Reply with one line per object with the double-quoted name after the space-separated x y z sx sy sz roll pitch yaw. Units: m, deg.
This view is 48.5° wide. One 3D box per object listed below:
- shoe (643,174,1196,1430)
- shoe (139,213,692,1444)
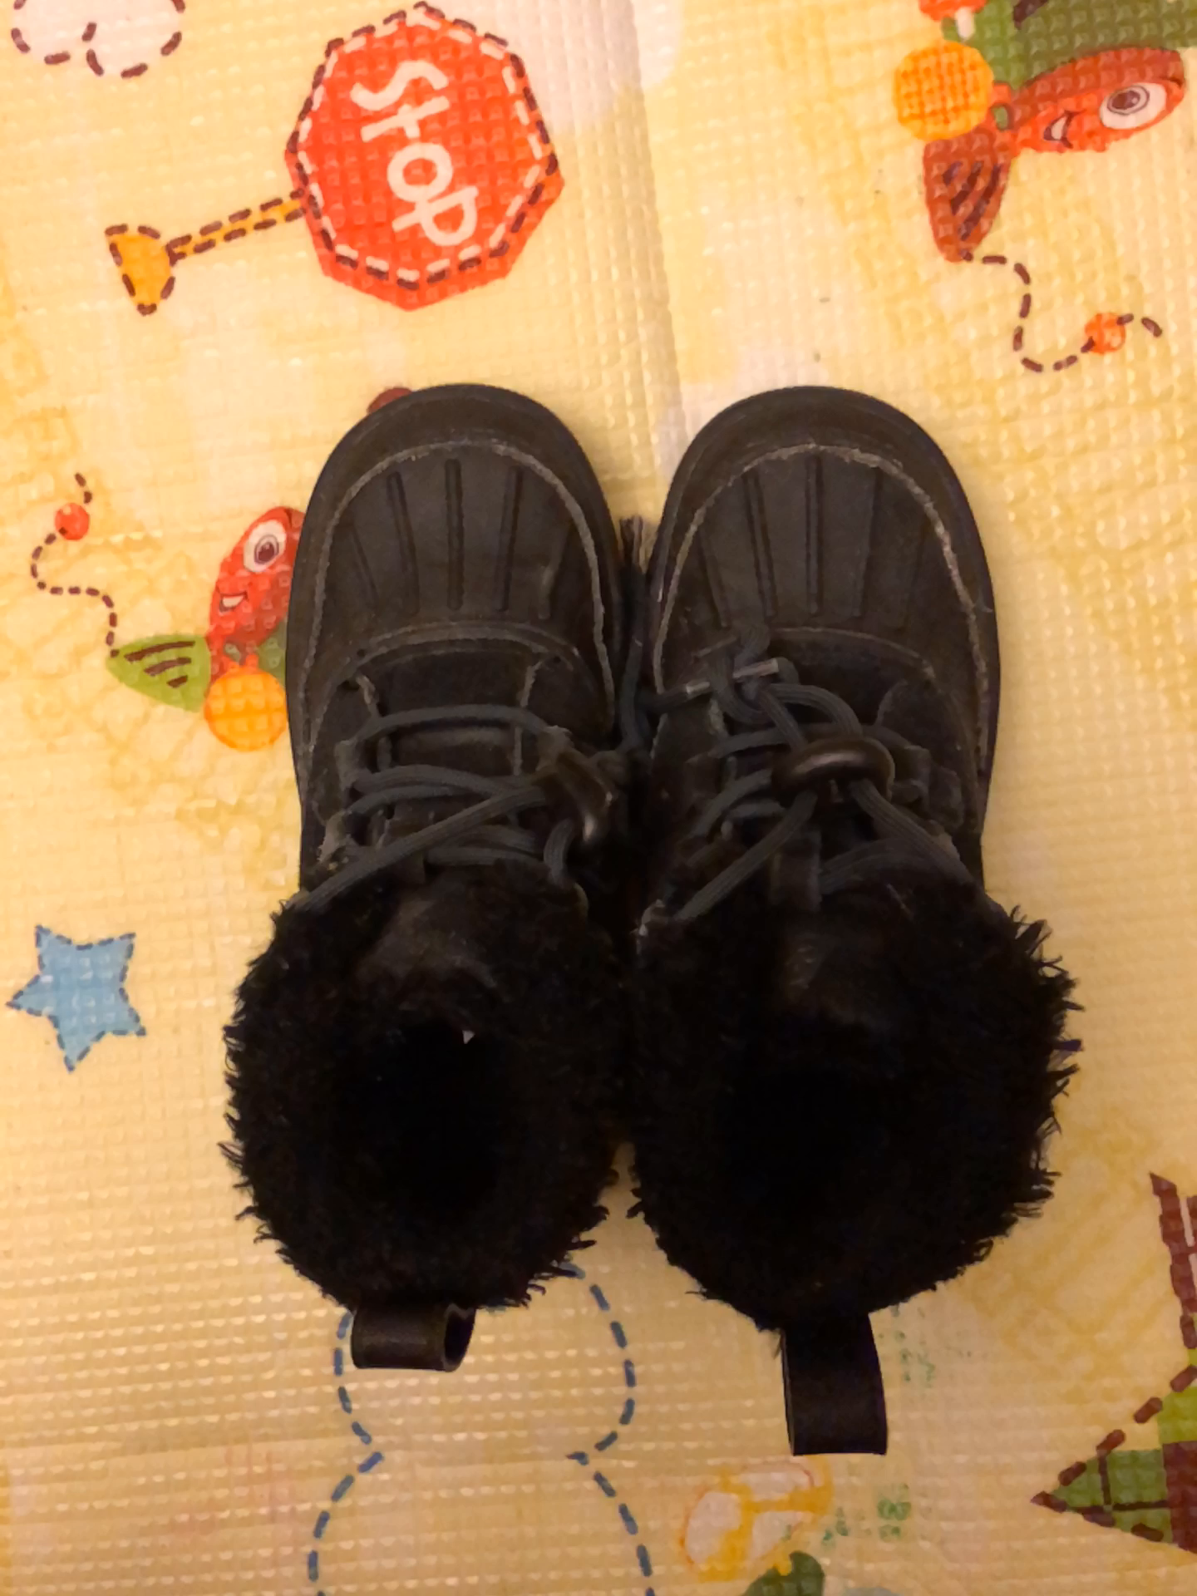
0.060 -0.001 0.290 0.090 0.110 0.220 2 91 4 "shoe"
-0.028 0.006 0.289 0.090 0.120 0.210 -2 91 4 "shoe"
